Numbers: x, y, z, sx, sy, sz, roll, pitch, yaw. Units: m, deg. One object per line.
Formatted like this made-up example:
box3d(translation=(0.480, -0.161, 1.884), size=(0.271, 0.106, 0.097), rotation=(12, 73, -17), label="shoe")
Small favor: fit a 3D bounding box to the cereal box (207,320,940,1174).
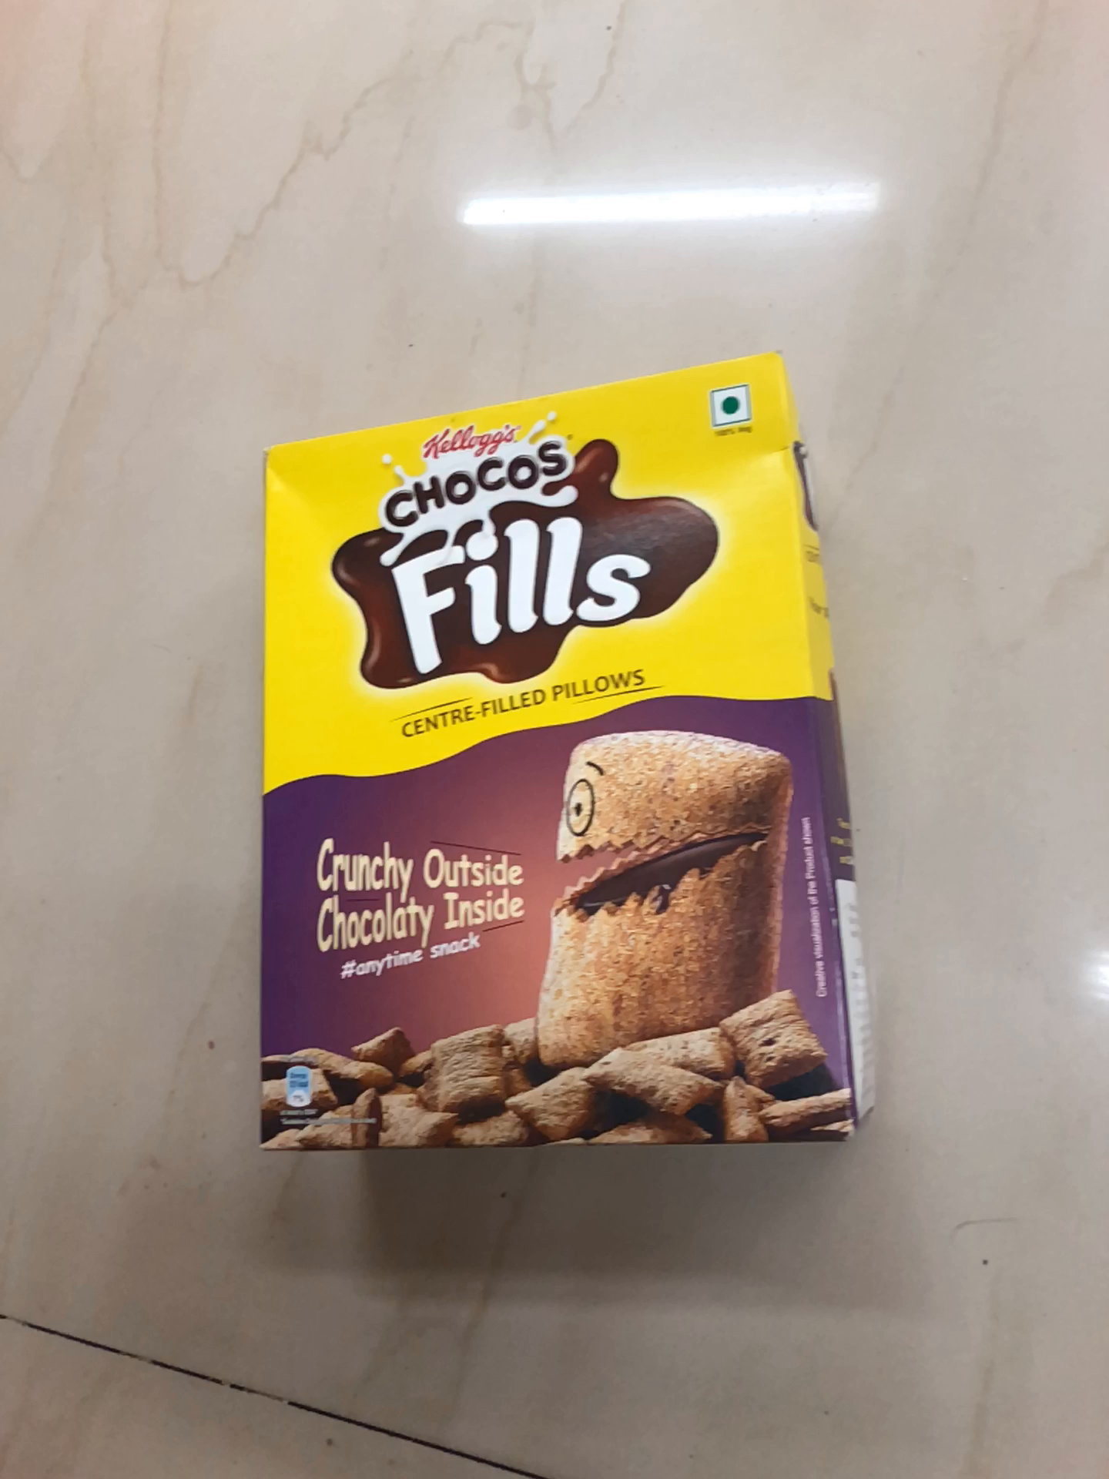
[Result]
box3d(translation=(0.002, 0.009, 0.384), size=(0.200, 0.070, 0.230), rotation=(-7, 74, 15), label="cereal box")
